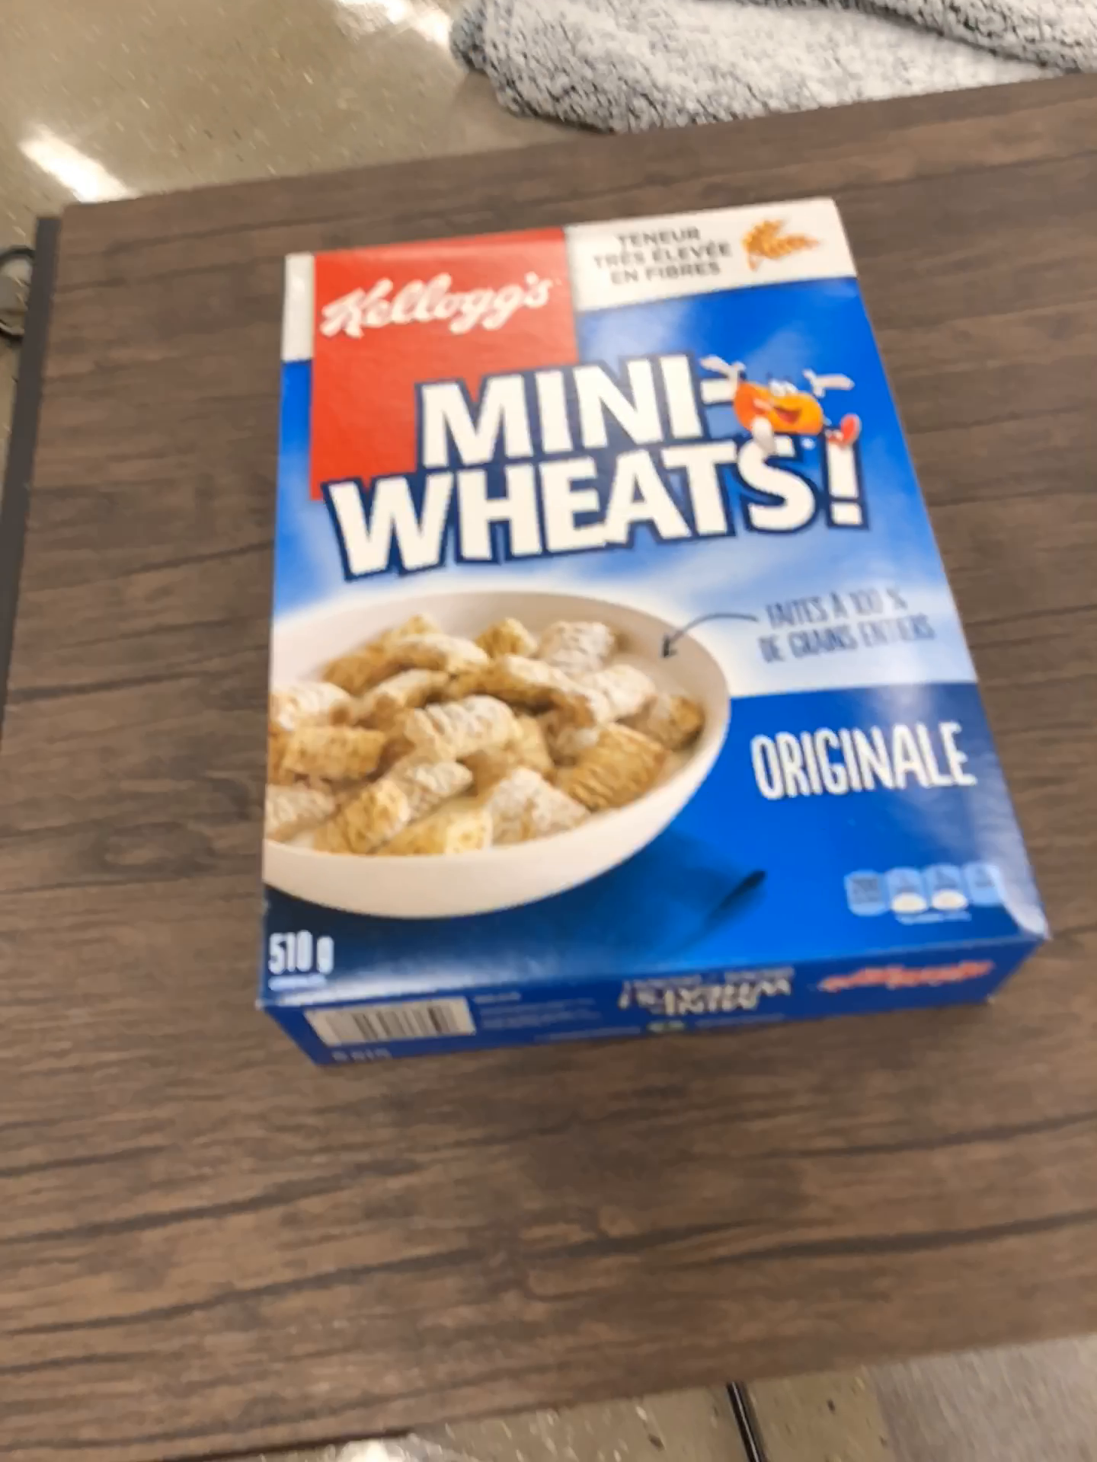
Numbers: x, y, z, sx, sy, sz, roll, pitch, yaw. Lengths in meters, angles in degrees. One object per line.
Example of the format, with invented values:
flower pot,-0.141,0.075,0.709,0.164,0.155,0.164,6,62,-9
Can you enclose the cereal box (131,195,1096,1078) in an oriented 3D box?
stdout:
cereal box,0.009,-0.045,0.375,0.230,0.060,0.271,-5,59,1
